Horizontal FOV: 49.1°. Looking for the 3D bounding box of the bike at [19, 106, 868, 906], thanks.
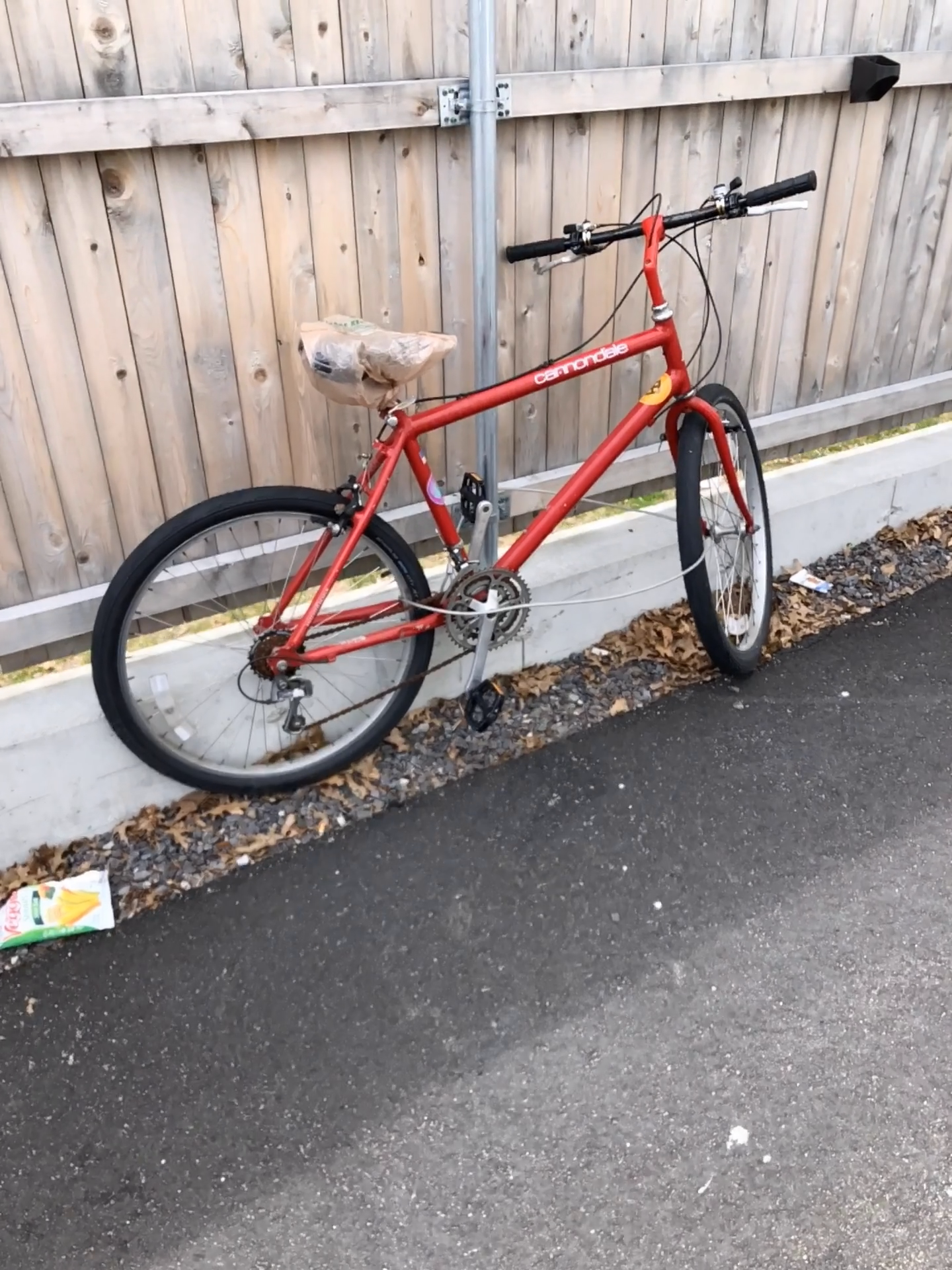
[{"bbox_3d":[-0.017,-0.369,2.064,1.478,1.001,0.595,-20,34,-23],"label":"bike"}]
